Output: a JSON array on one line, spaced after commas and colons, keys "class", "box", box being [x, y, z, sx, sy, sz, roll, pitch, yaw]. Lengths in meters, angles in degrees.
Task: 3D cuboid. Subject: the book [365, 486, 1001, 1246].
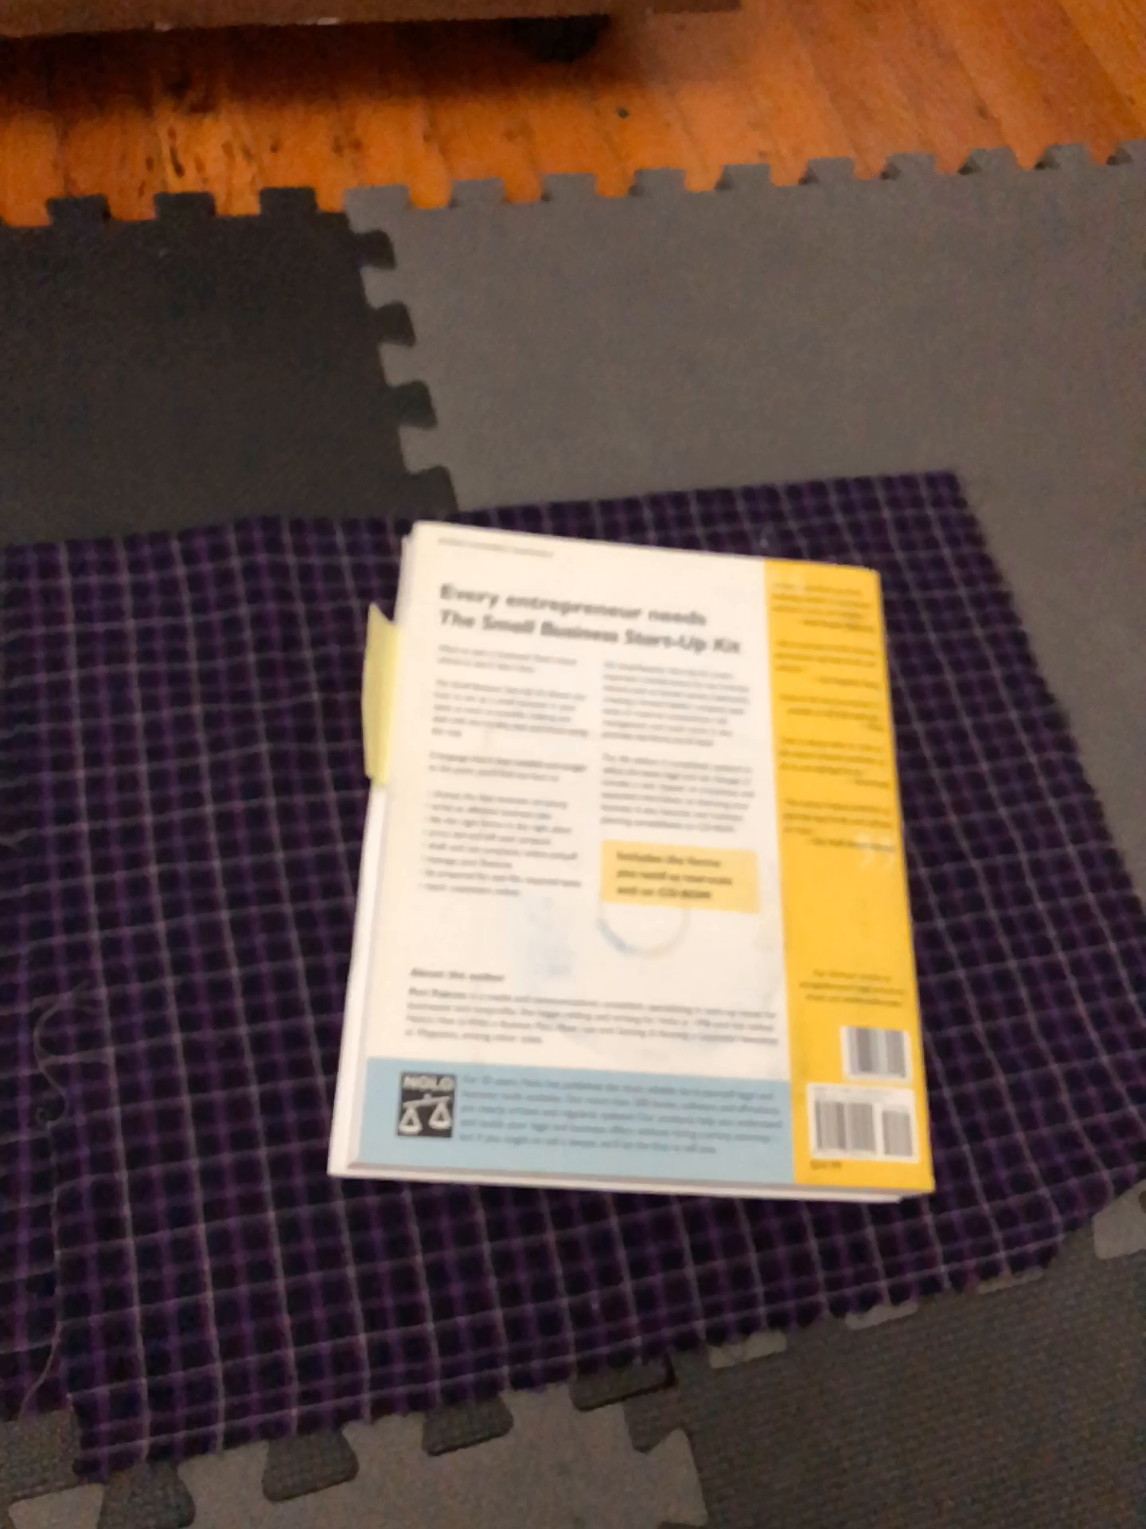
[{"class": "book", "box": [0.045, 0.030, 0.536, 0.230, 0.030, 0.311, 5, 63, -7]}]
